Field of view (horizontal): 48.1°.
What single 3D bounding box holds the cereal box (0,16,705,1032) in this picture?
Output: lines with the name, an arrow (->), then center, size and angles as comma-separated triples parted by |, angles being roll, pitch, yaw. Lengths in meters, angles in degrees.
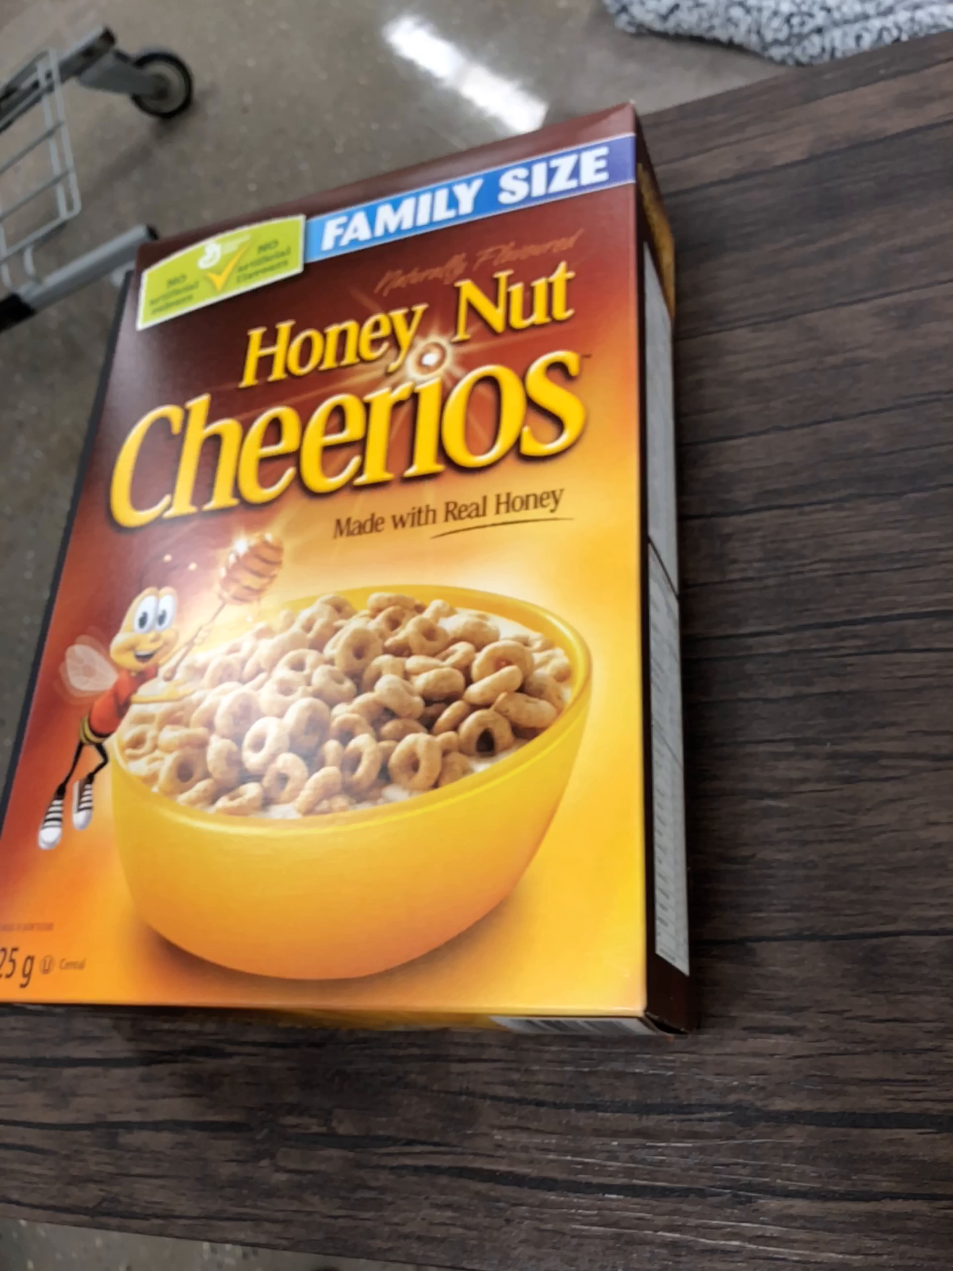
cereal box -> -0.047, -0.048, 0.435 | 0.250, 0.080, 0.380 | -7, 63, 23
